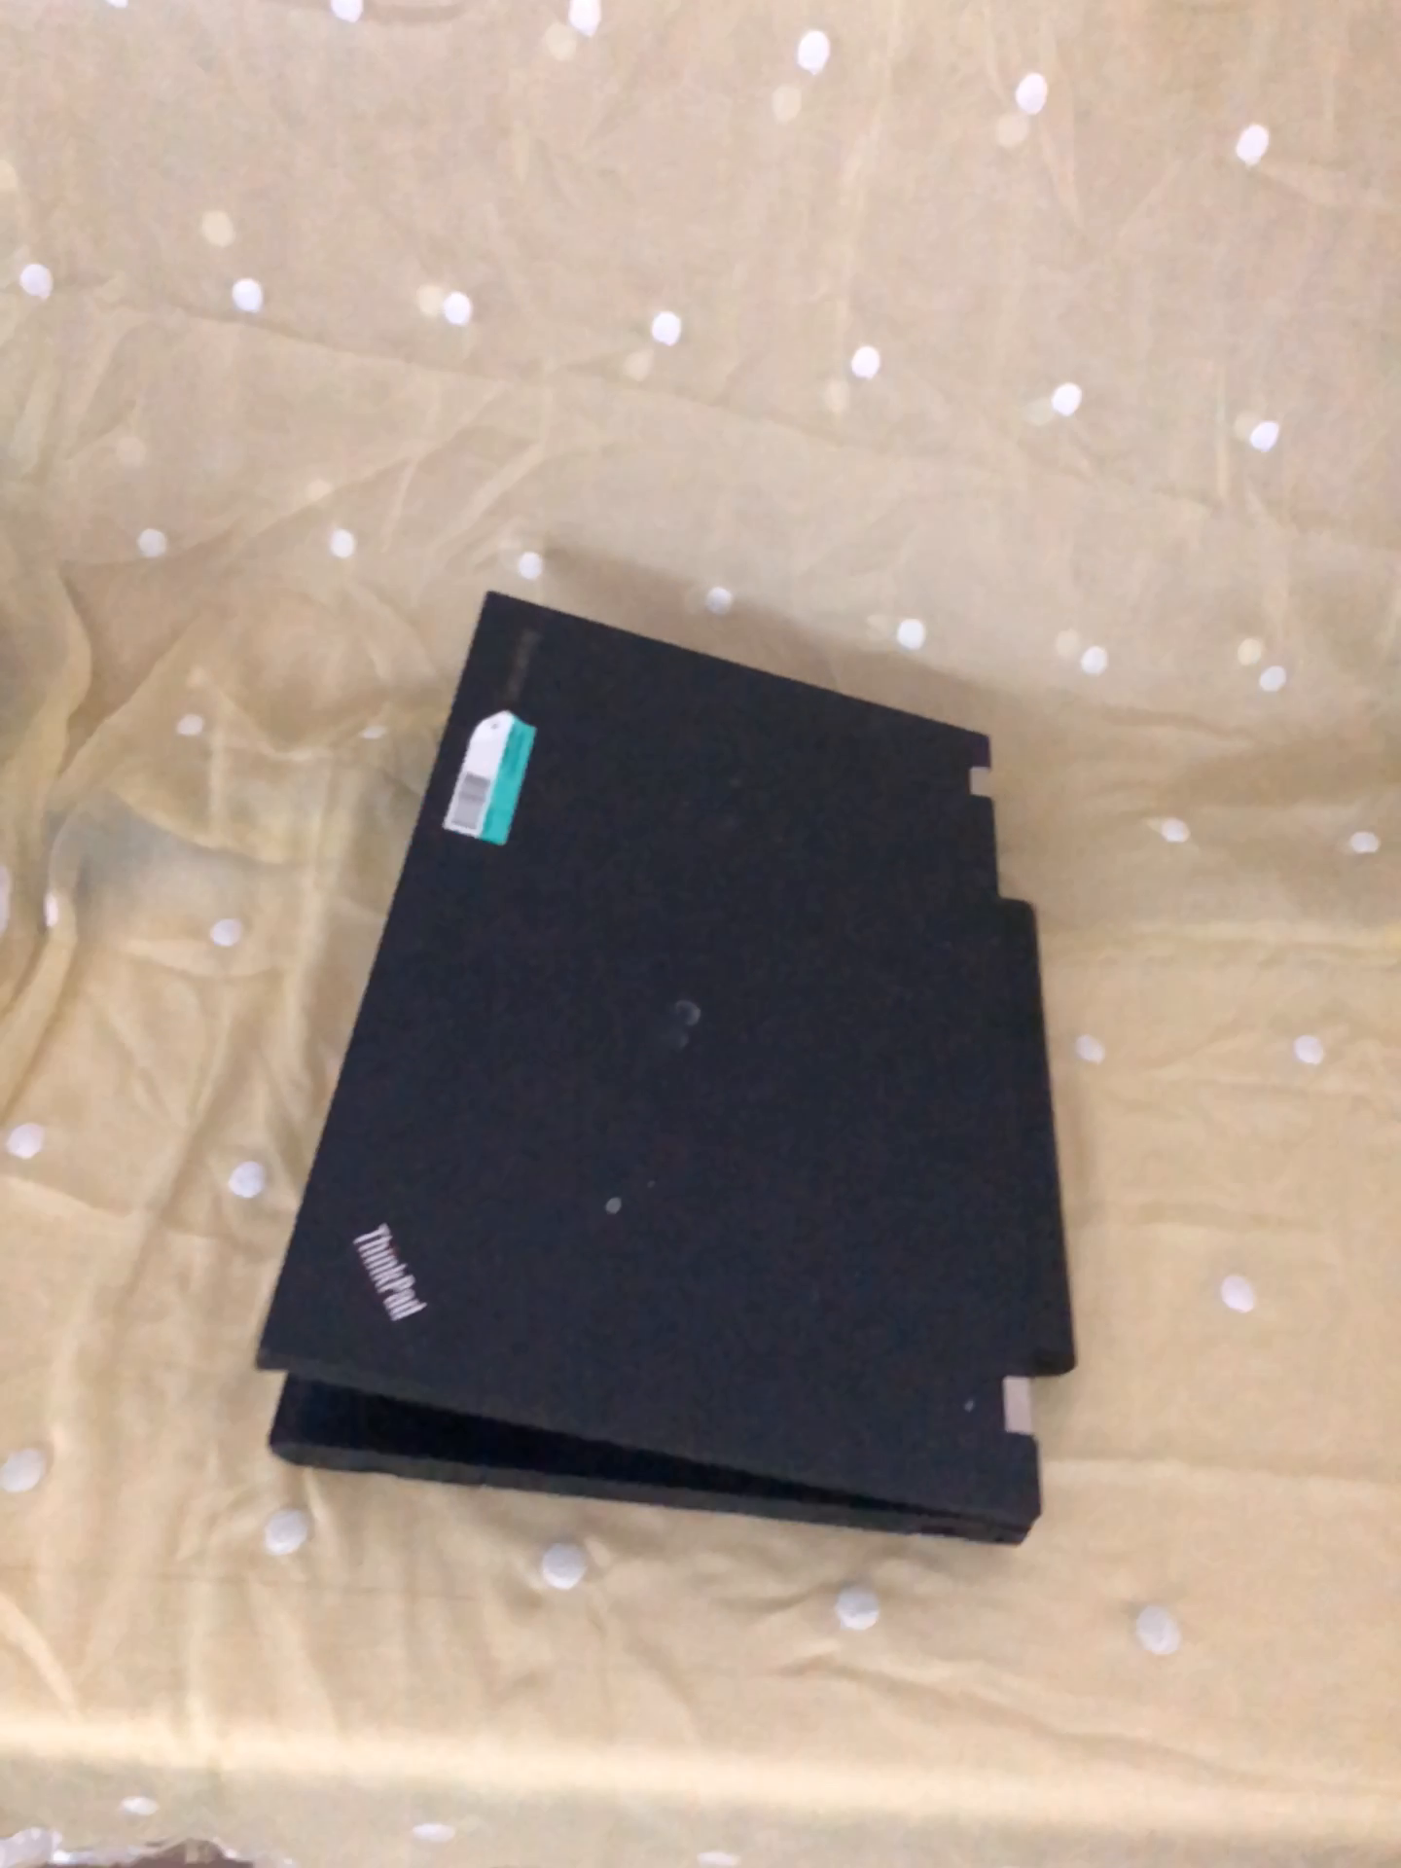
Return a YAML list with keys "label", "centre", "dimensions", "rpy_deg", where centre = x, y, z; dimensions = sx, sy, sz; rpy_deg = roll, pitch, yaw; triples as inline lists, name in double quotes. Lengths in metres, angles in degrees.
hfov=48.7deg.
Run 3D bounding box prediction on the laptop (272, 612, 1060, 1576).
- label: "laptop"
  centre: [0.003, 0.025, 0.572]
  dimensions: [0.225, 0.050, 0.357]
  rpy_deg: [7, 48, 2]
